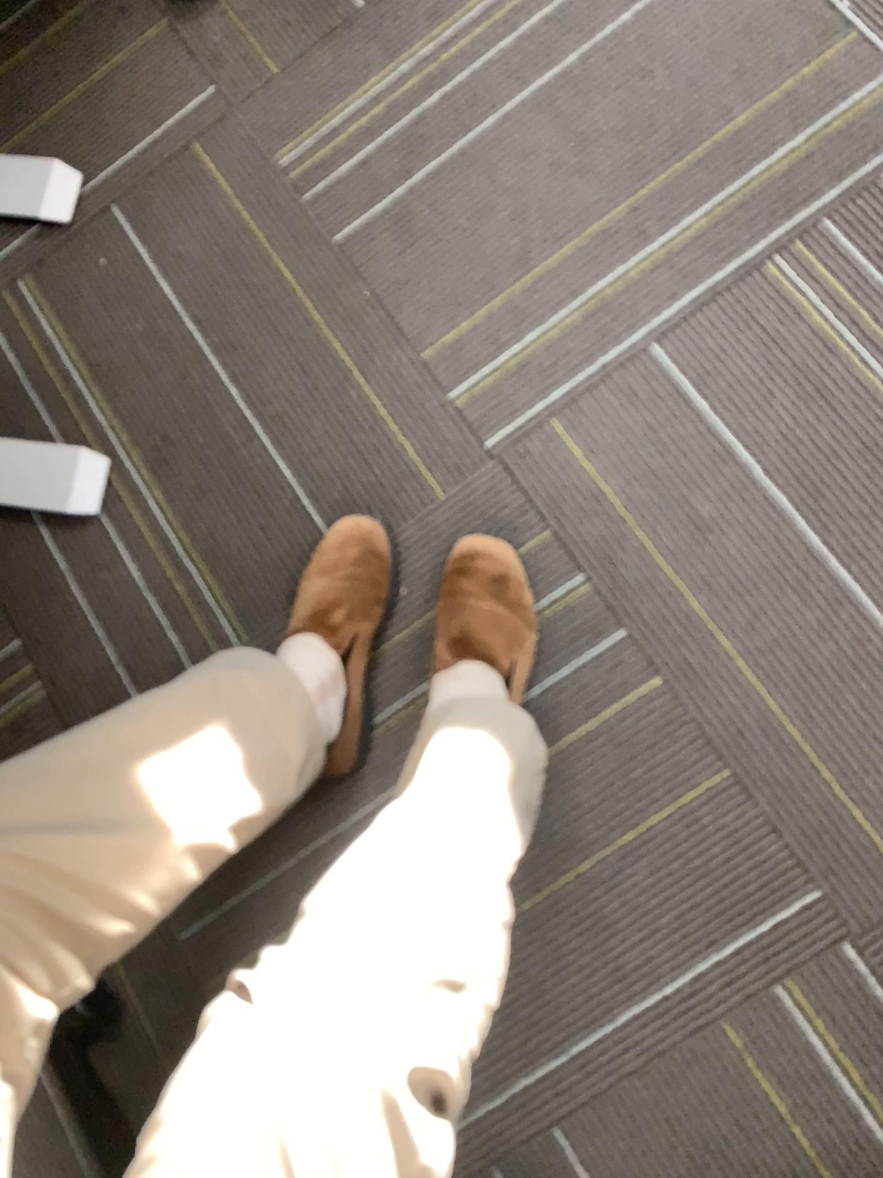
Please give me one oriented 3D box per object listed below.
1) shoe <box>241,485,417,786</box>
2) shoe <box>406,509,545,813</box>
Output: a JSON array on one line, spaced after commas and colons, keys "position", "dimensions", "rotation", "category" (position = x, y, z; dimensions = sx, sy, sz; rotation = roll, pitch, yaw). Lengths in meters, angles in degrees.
[{"position": [-0.122, 0.050, 0.992], "dimensions": [0.119, 0.077, 0.307], "rotation": [9, 84, 15], "category": "shoe"}, {"position": [0.040, 0.074, 0.952], "dimensions": [0.120, 0.077, 0.307], "rotation": [1, 82, 14], "category": "shoe"}]
